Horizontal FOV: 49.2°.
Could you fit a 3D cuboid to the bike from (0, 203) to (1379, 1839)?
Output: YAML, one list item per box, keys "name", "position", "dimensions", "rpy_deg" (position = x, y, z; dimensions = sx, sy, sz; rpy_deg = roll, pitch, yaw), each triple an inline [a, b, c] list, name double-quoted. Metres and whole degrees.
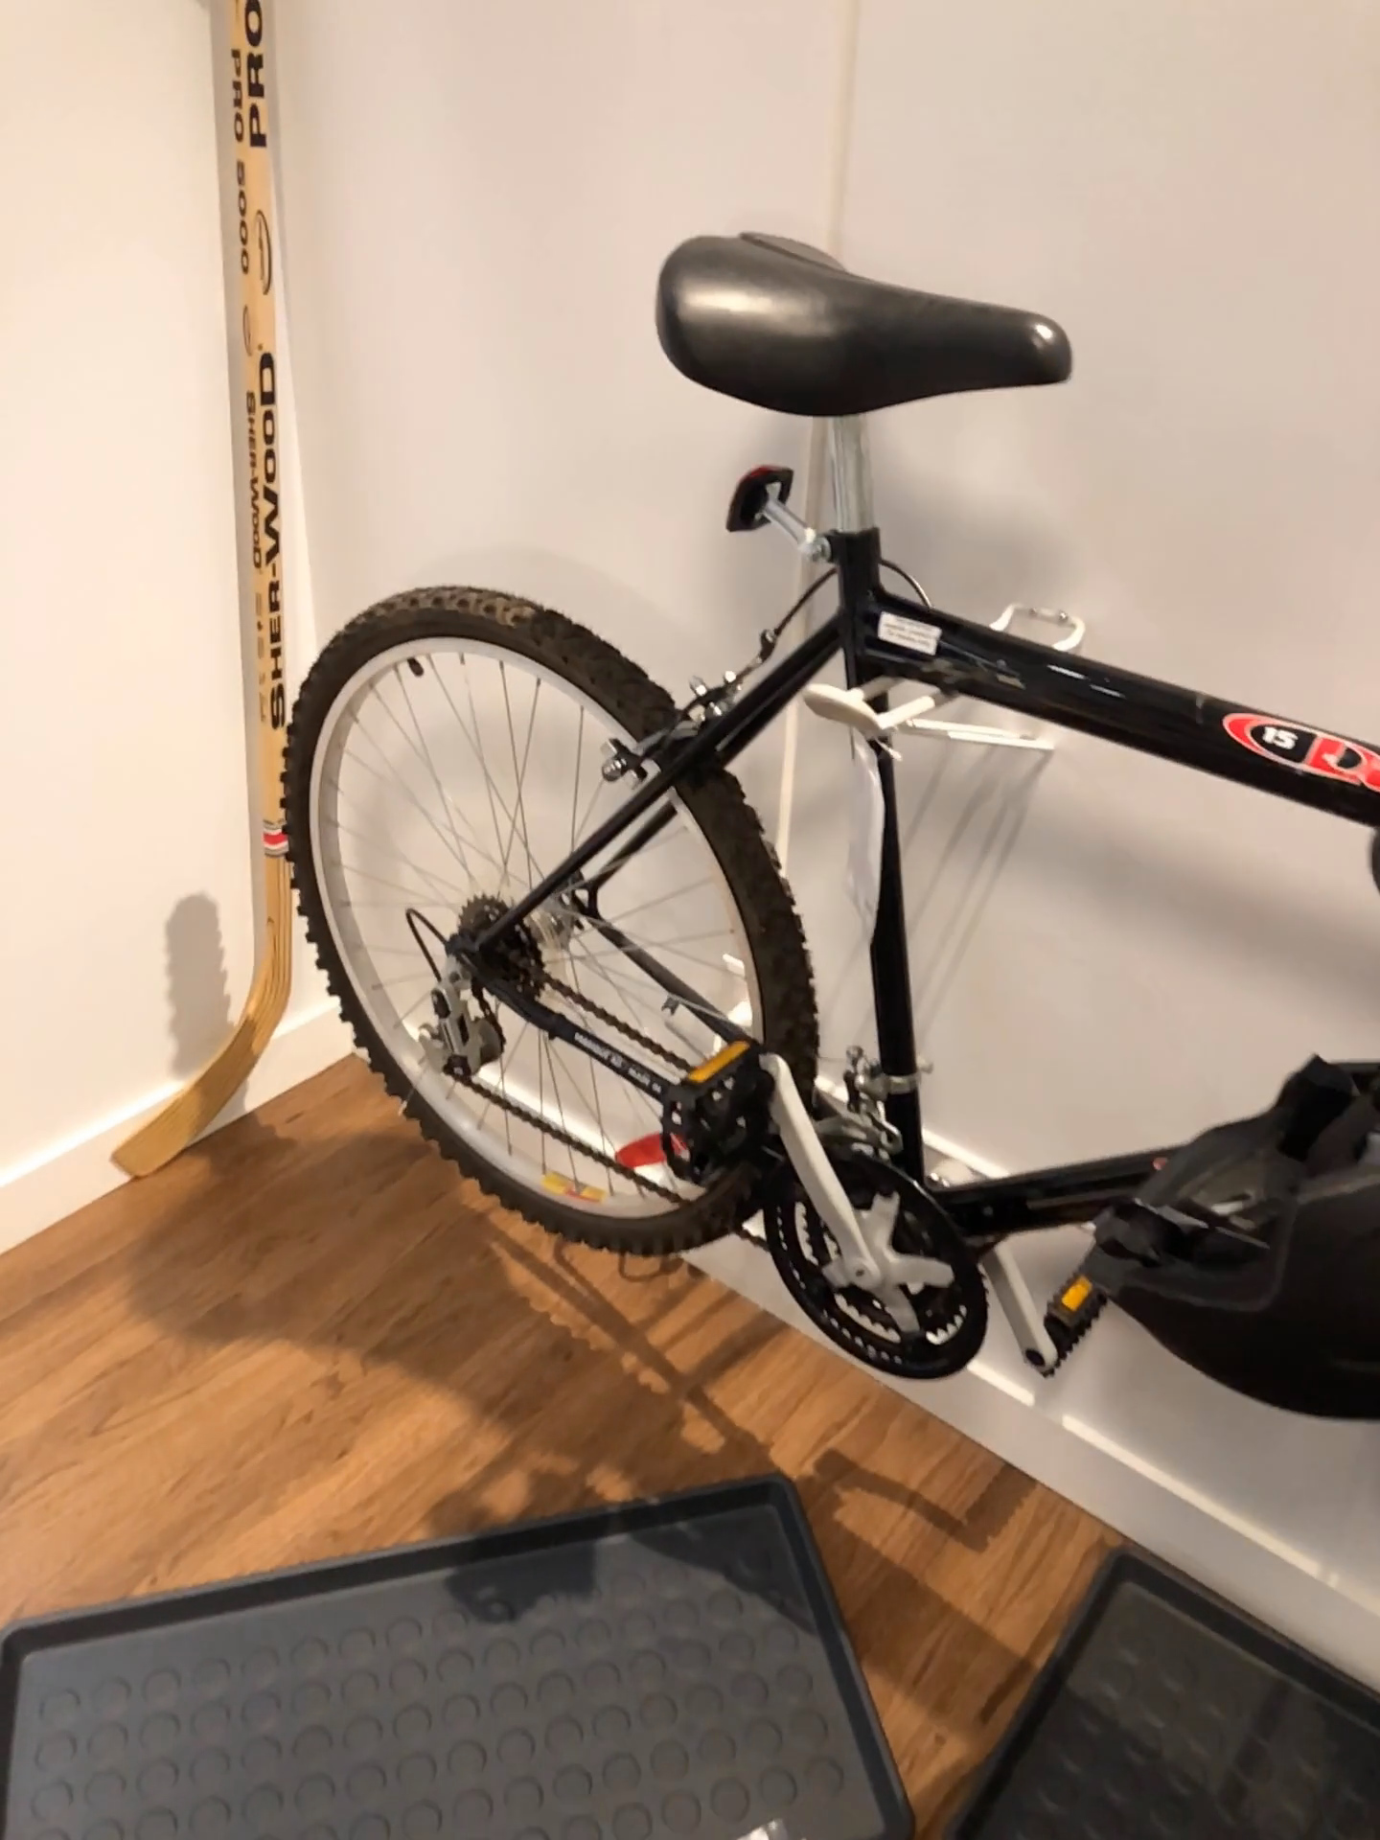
- name: "bike"
  position: [0.180, 0.169, 1.059]
  dimensions: [0.559, 0.845, 1.573]
  rpy_deg: [-24, 46, -37]
